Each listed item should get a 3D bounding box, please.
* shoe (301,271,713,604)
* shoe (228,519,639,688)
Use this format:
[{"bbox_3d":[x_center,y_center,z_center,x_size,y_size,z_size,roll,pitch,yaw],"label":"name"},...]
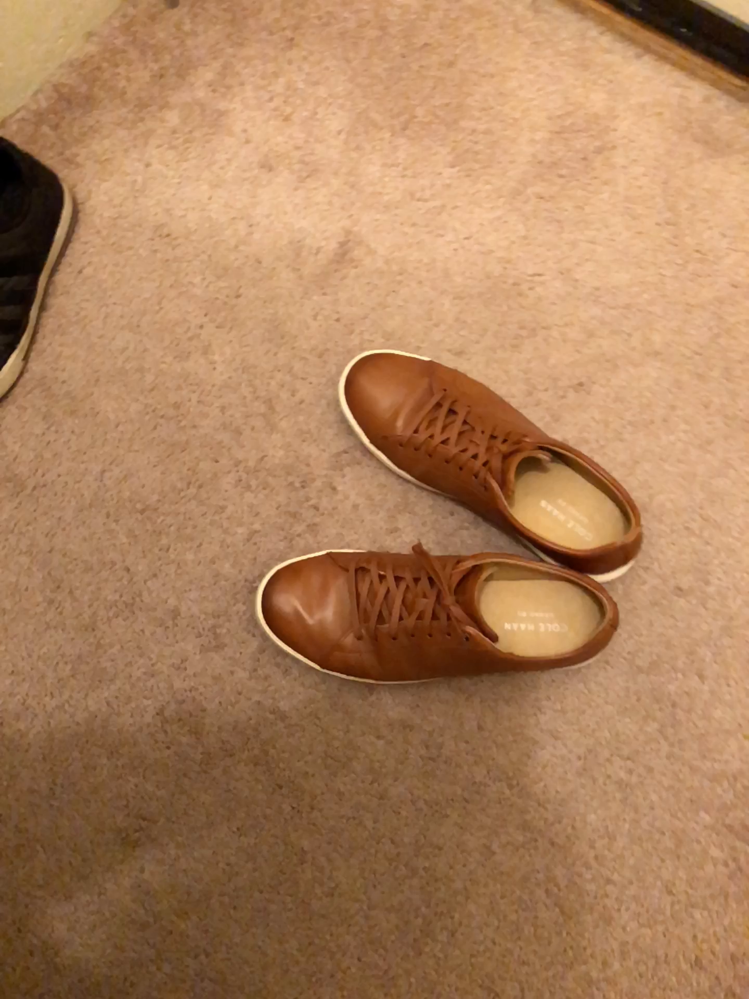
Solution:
[{"bbox_3d":[0.098,-0.047,0.663,0.285,0.103,0.117,31,80,10],"label":"shoe"},{"bbox_3d":[0.043,0.083,0.634,0.285,0.100,0.117,0,76,3],"label":"shoe"}]
